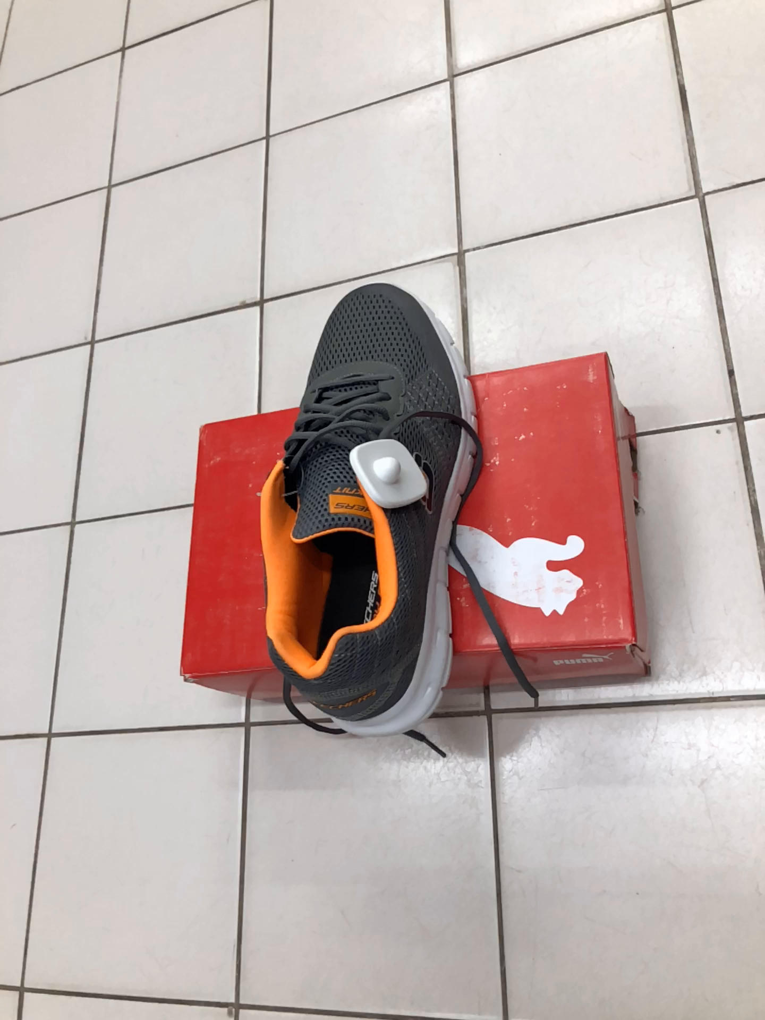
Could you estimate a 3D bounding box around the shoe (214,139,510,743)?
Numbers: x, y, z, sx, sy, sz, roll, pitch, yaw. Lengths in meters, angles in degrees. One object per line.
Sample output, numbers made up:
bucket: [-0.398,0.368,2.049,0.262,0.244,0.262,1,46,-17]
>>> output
shoe: [-0.004,-0.030,0.494,0.110,0.140,0.311,-8,69,20]
